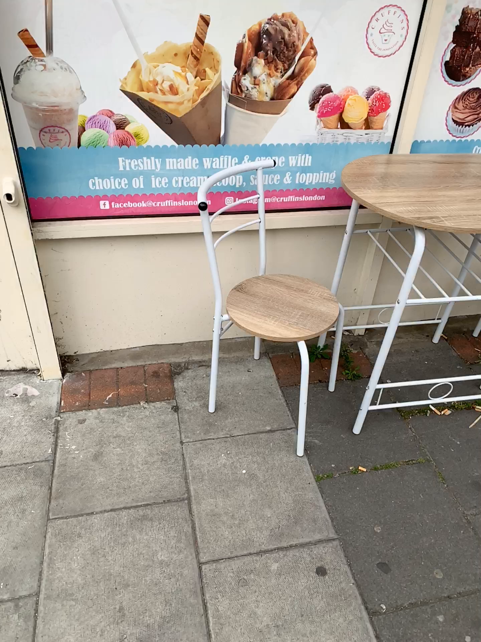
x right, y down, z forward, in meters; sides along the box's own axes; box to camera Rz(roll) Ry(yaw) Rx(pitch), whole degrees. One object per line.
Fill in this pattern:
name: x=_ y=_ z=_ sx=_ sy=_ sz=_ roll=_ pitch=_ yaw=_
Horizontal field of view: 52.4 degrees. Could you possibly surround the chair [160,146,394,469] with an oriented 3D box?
chair: x=0.113 y=-0.060 z=1.544 sx=0.500 sy=0.752 sz=0.535 roll=15 pitch=37 yaw=16
